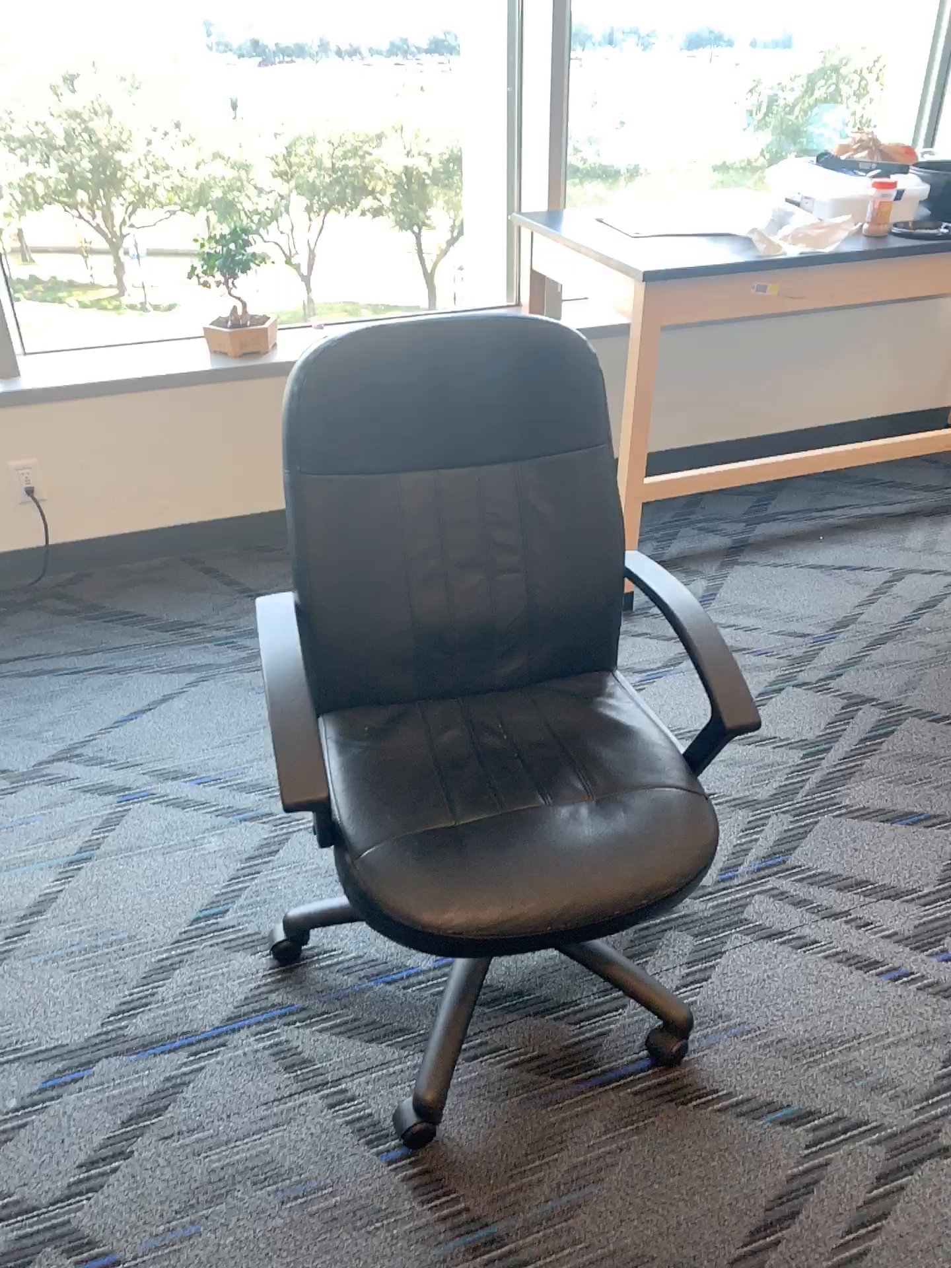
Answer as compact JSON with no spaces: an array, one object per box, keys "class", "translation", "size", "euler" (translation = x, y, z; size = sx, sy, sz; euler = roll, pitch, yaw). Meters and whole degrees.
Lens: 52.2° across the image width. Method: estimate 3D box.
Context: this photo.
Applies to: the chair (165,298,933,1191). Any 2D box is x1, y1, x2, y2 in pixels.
[{"class":"chair","translation":[0.012,0.092,1.364],"size":[0.700,0.892,0.696],"euler":[-9,32,-14]}]
